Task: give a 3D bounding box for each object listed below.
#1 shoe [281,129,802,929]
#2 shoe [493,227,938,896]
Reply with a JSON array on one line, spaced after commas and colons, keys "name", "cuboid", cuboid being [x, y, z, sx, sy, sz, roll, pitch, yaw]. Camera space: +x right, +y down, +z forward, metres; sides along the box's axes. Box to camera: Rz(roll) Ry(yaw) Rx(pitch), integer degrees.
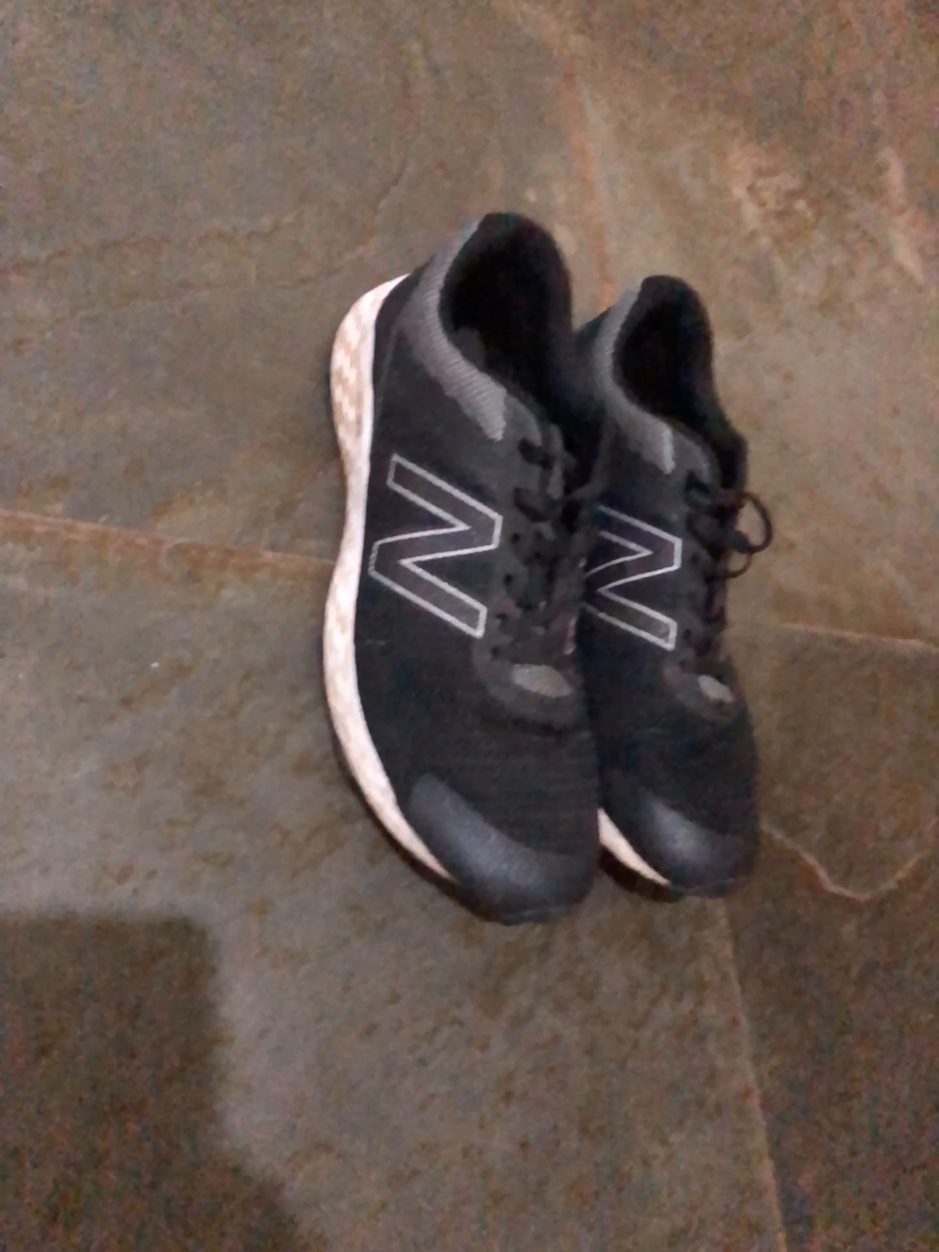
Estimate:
[{"name": "shoe", "cuboid": [0.018, -0.031, 0.396, 0.121, 0.099, 0.260, 3, 70, -36]}, {"name": "shoe", "cuboid": [0.104, -0.024, 0.463, 0.111, 0.099, 0.260, 3, 70, -36]}]
